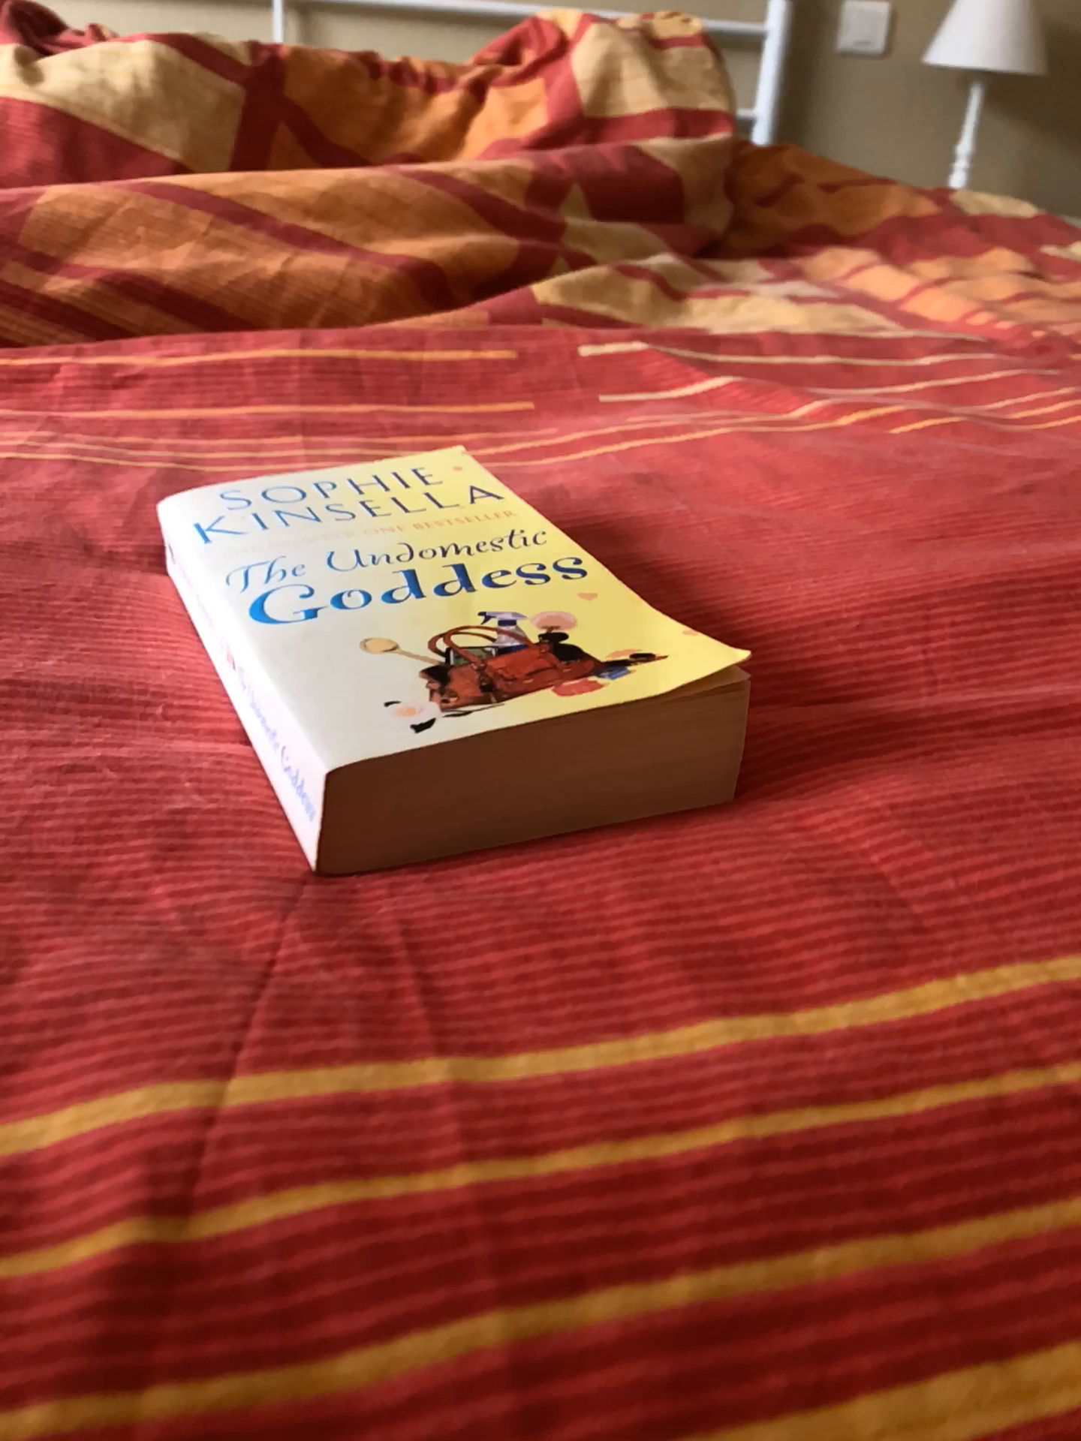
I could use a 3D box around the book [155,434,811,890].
[{"bbox_3d":[-0.030,-0.033,0.339,0.120,0.040,0.181,-10,32,-24],"label":"book"}]
